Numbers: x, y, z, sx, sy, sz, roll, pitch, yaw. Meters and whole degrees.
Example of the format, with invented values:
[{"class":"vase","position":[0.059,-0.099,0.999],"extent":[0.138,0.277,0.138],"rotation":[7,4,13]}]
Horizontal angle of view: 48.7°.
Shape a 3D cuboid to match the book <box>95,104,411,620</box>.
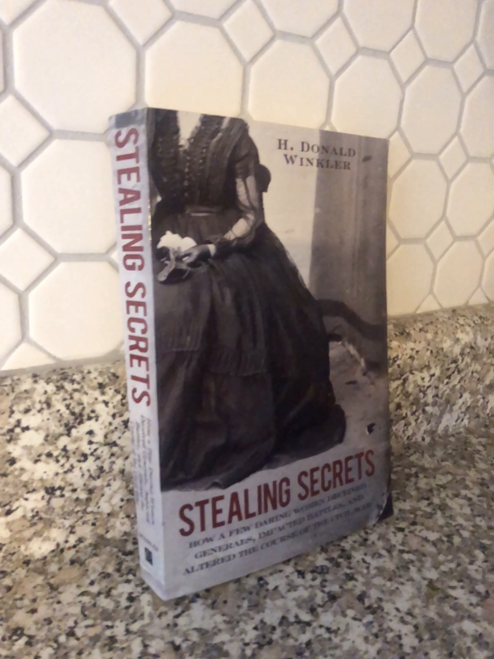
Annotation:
[{"class":"book","position":[0.014,0.010,0.292],"extent":[0.162,0.226,0.041],"rotation":[-7,10,-30]}]
